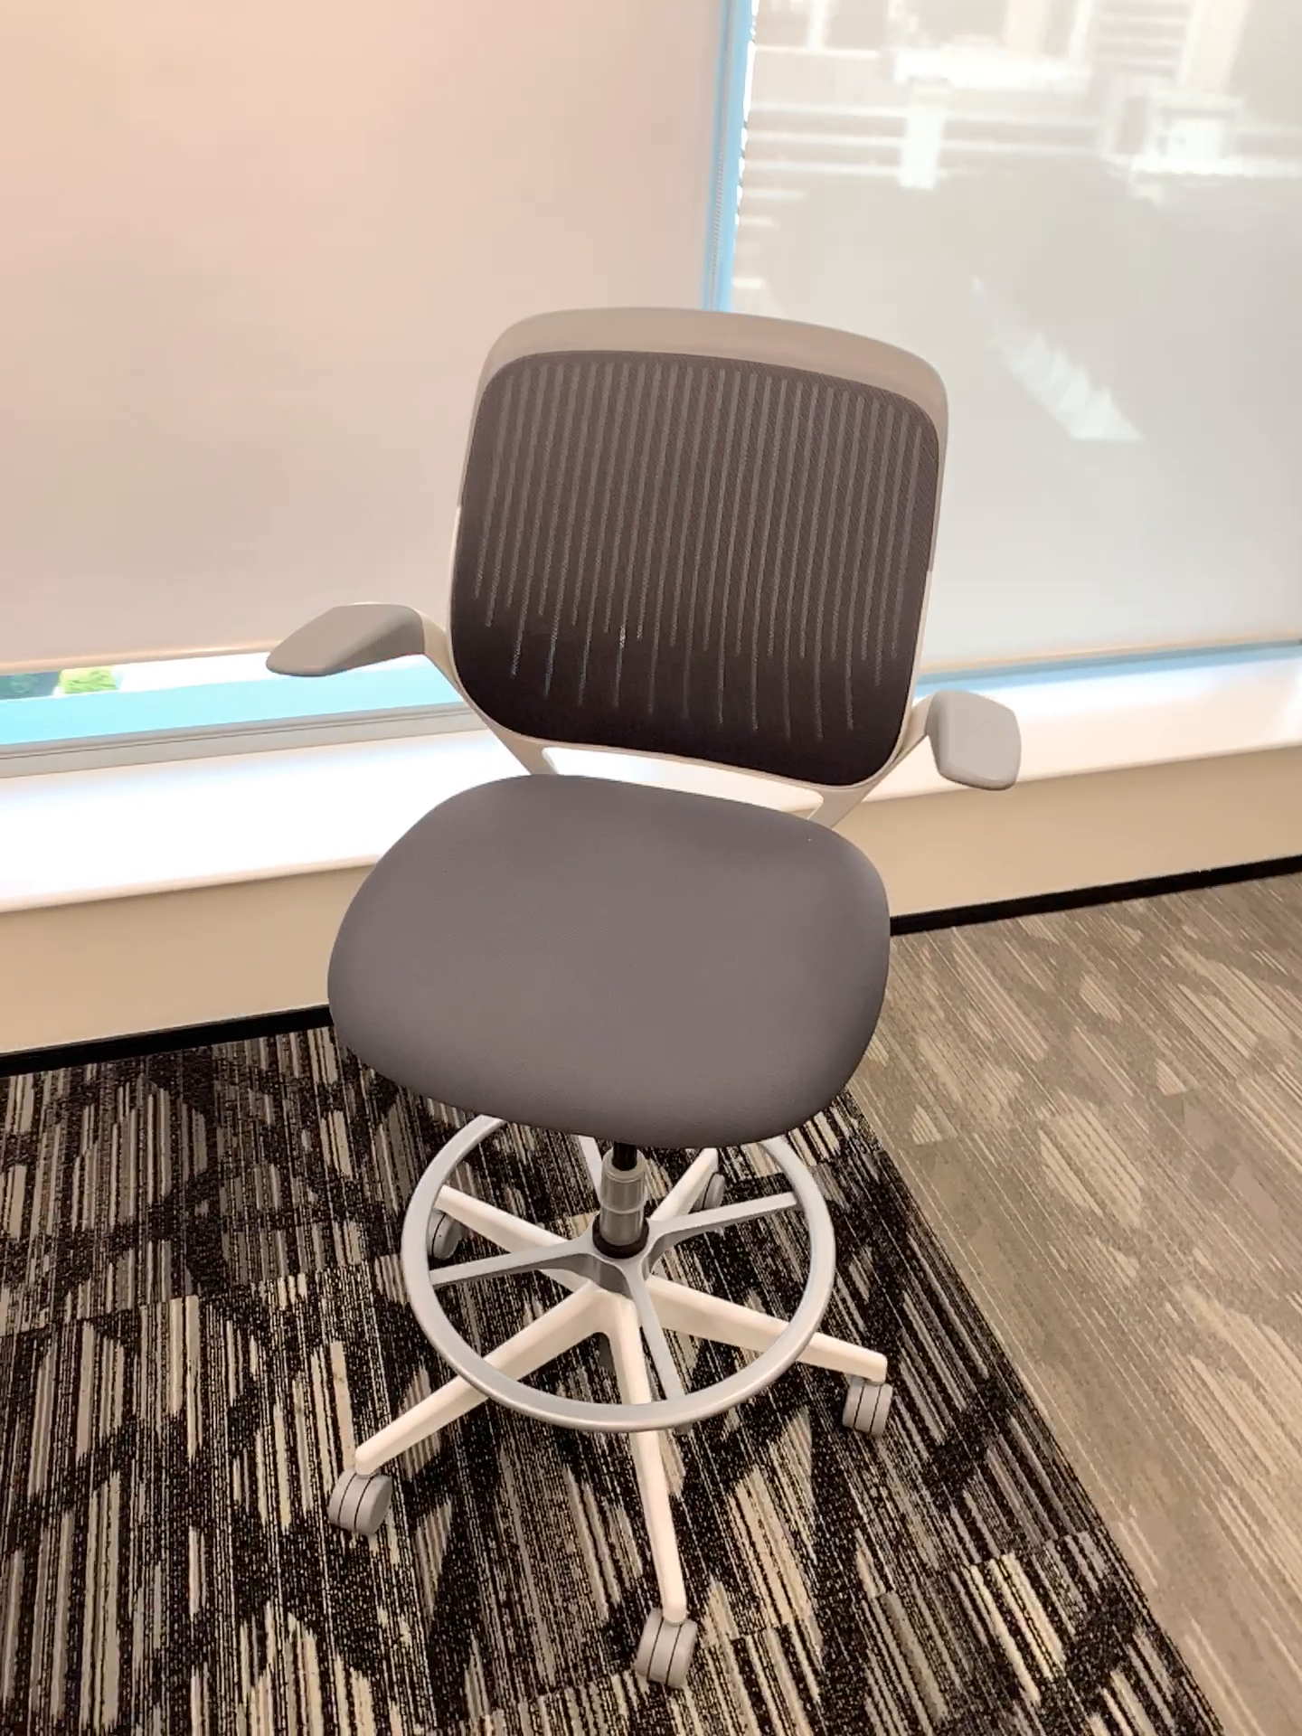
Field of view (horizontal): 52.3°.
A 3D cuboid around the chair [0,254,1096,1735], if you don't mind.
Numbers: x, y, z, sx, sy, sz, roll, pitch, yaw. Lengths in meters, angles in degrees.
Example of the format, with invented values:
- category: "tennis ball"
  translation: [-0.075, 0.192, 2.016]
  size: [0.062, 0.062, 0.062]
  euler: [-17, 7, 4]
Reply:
- category: "chair"
  translation: [-0.071, 0.114, 1.297]
  size: [0.691, 1.140, 0.695]
  euler: [13, 36, 13]
